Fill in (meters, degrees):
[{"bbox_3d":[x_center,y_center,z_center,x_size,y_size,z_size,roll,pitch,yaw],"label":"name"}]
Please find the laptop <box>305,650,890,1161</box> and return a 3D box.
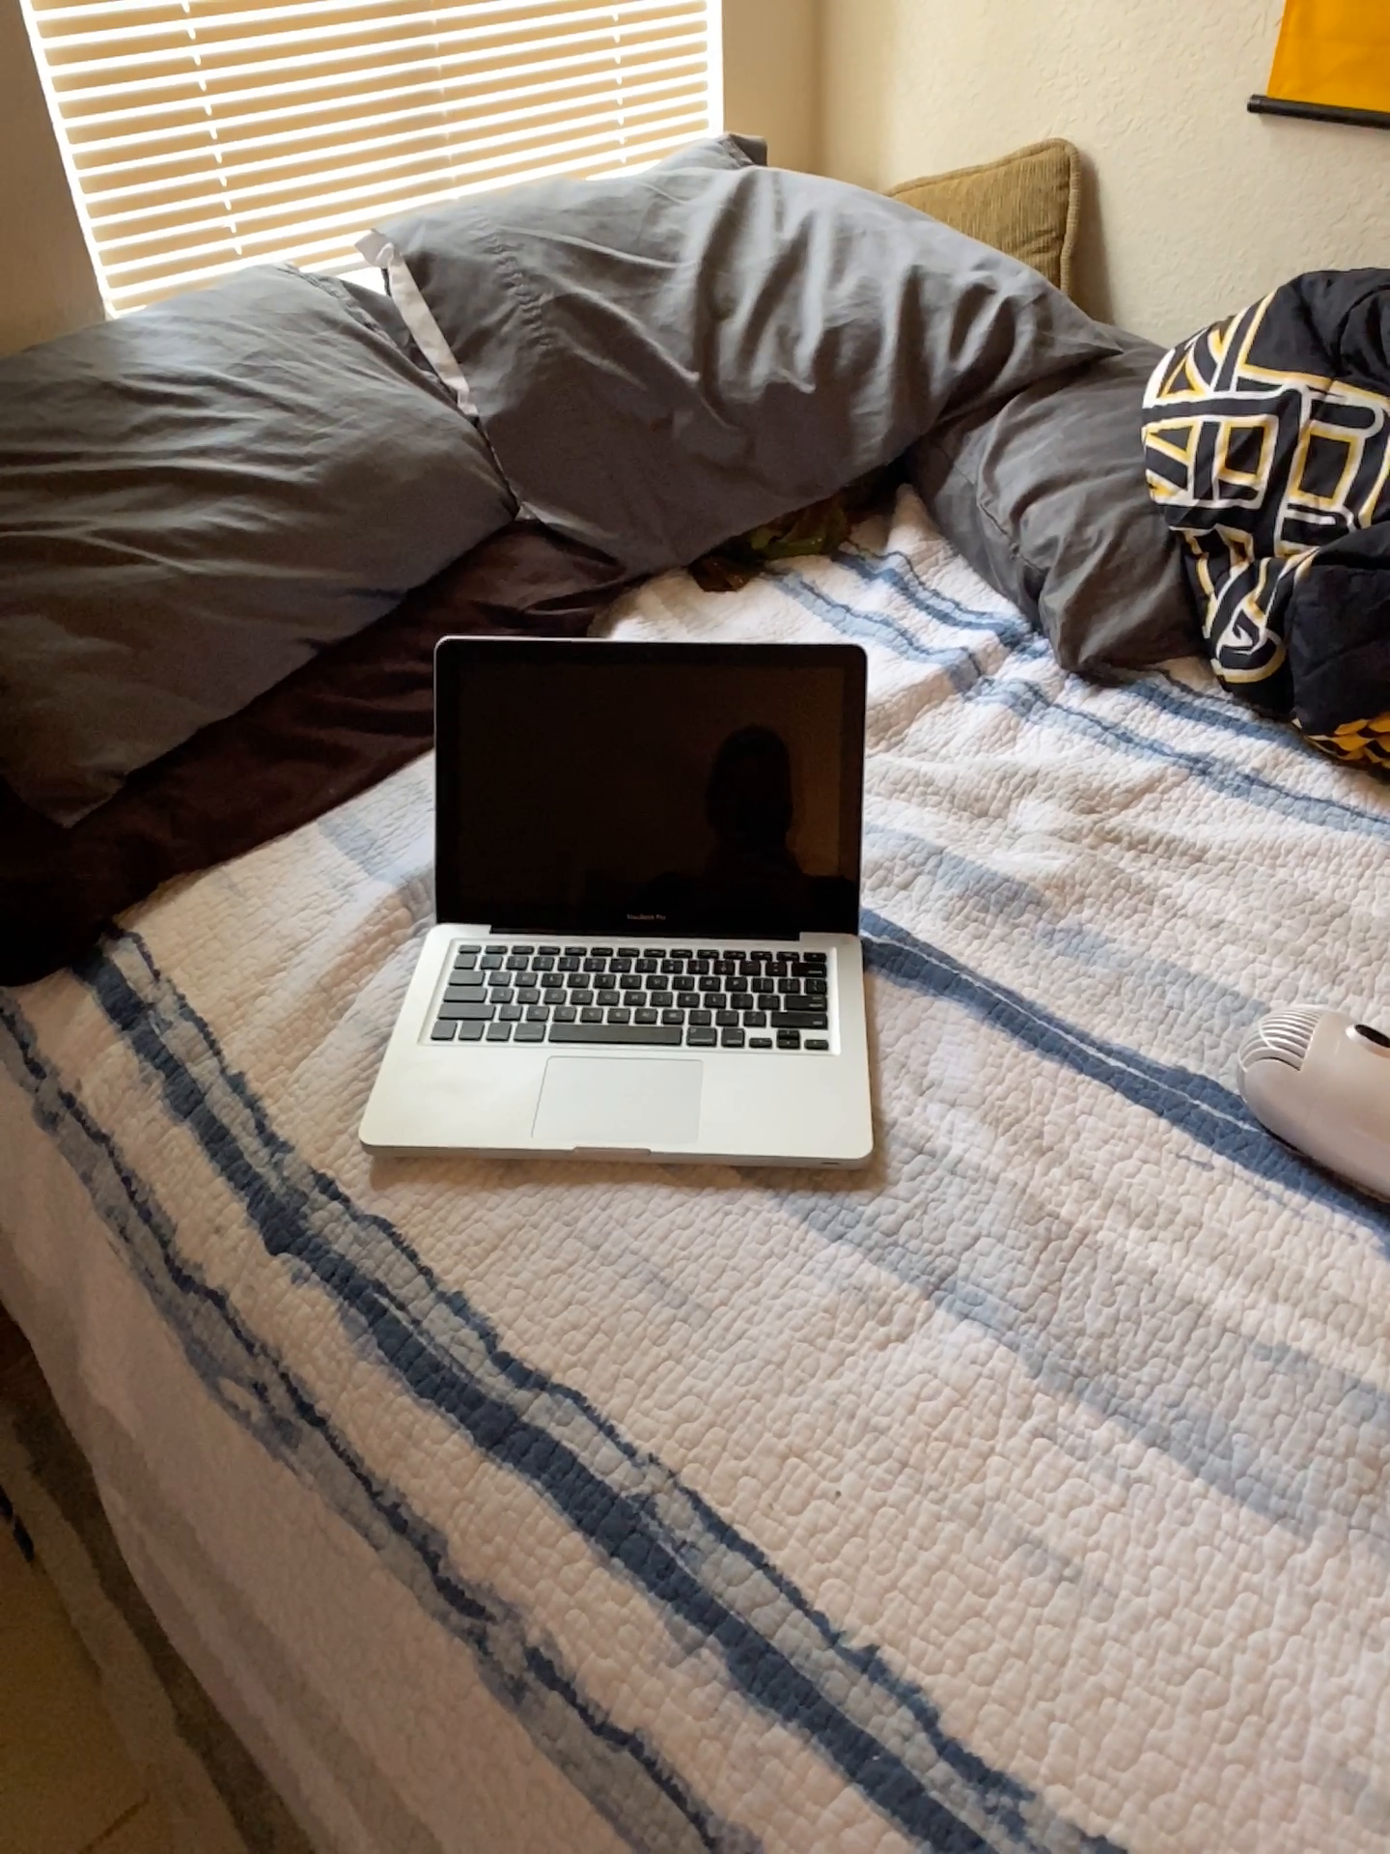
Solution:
[{"bbox_3d":[-0.044,-0.033,0.957,0.319,0.169,0.348,1,37,4],"label":"laptop"}]
